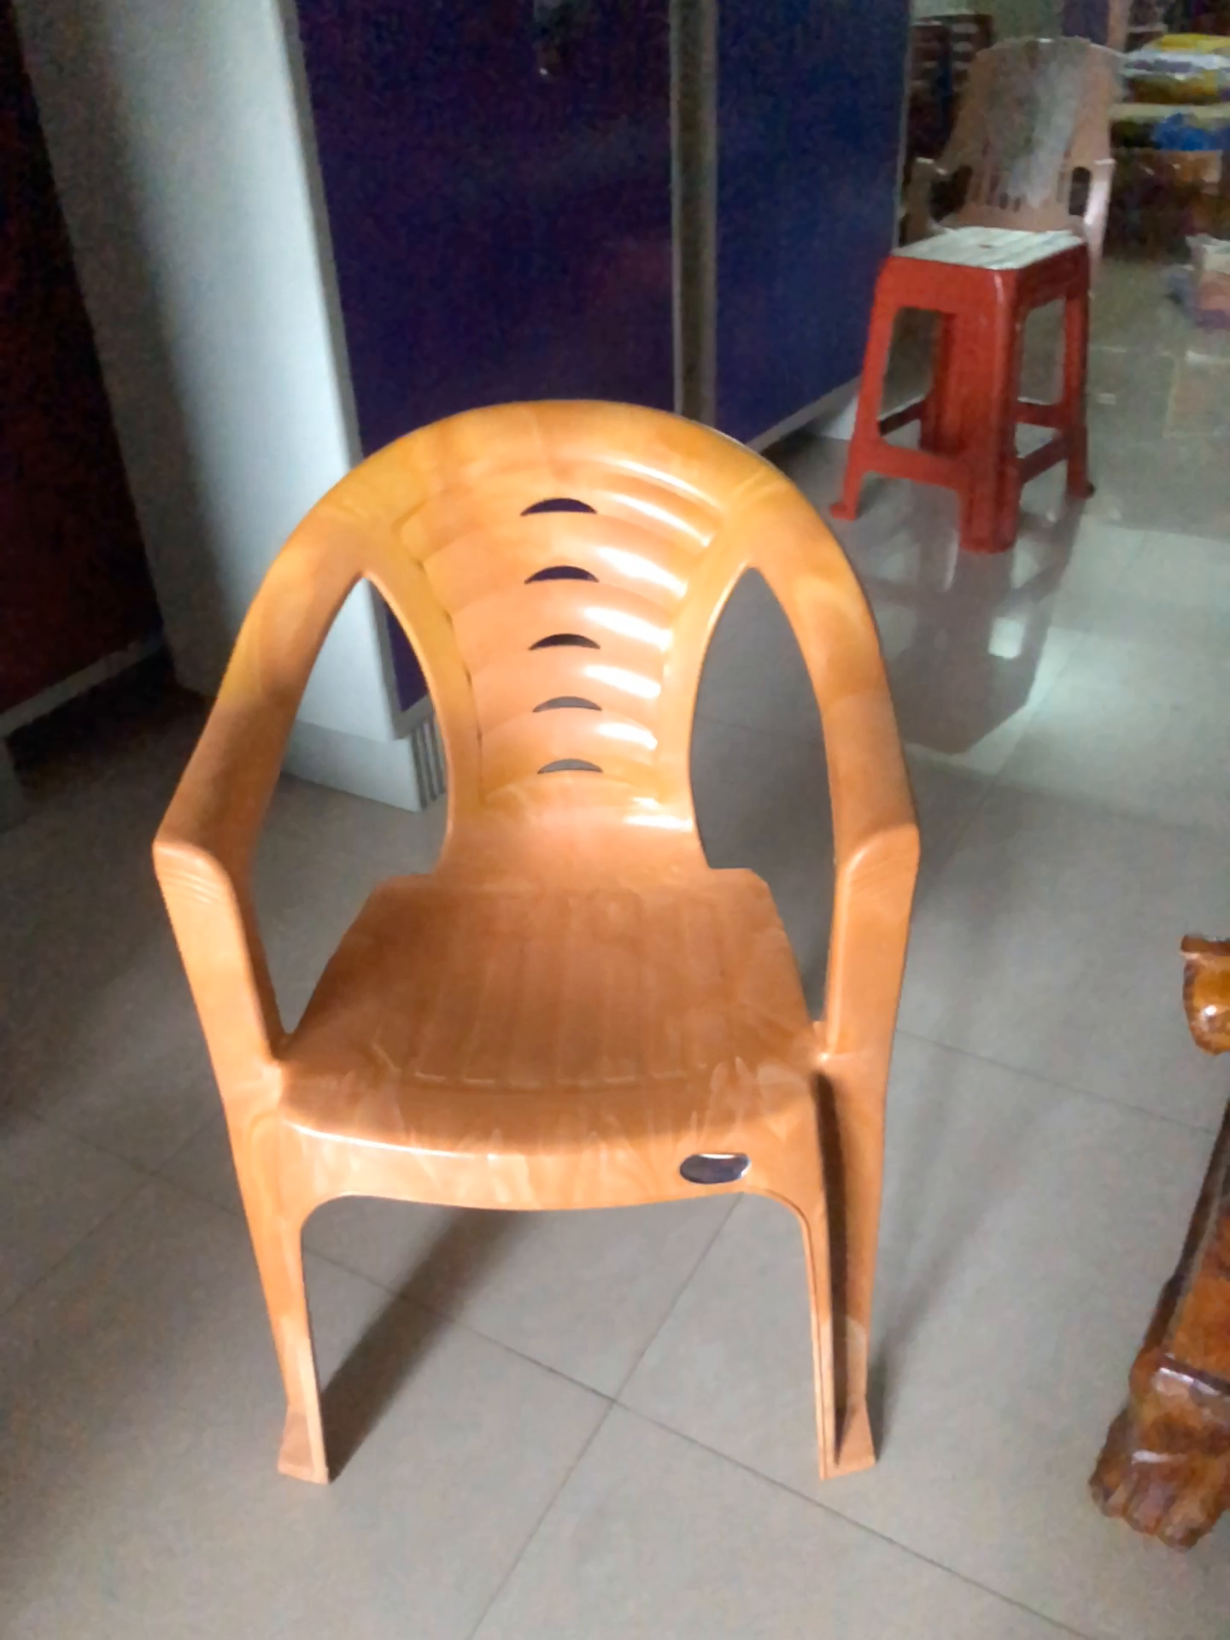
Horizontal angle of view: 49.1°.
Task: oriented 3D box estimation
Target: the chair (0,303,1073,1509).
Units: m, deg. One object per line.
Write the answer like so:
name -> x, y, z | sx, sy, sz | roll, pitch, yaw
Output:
chair -> -0.053, 0.071, 1.191 | 0.630, 0.845, 0.603 | -2, 33, 2
